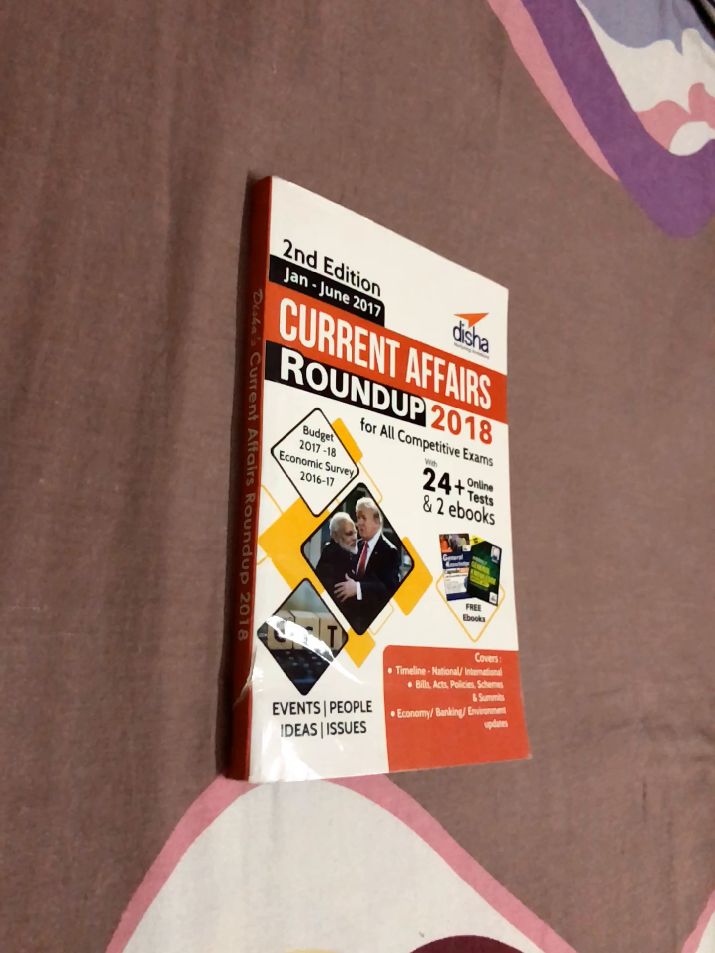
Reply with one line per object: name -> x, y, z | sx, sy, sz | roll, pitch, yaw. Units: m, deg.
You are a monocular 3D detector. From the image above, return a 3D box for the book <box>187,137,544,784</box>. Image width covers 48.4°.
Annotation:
book -> 0.010, -0.001, 0.320 | 0.141, 0.040, 0.220 | 12, 71, -39
